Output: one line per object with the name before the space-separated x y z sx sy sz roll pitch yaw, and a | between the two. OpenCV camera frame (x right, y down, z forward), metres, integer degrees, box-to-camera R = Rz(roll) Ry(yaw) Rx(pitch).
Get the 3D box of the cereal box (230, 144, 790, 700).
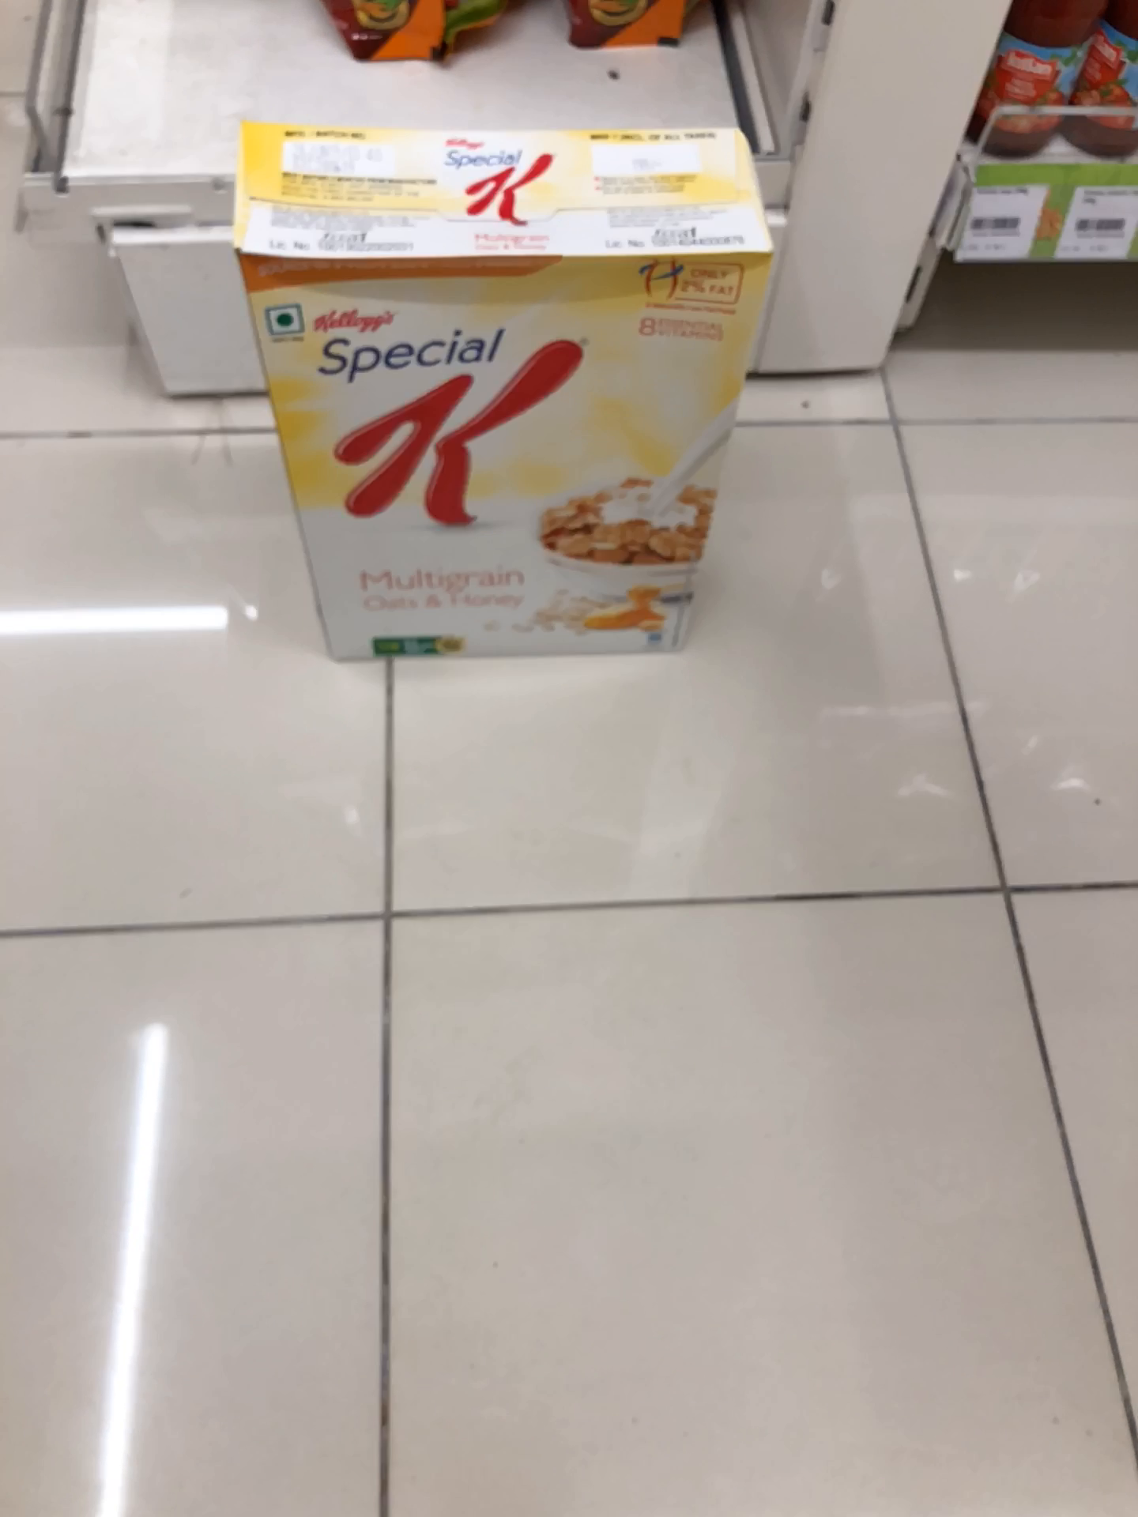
cereal box | -0.029 -0.129 0.565 0.190 0.269 0.070 -3 62 -6
